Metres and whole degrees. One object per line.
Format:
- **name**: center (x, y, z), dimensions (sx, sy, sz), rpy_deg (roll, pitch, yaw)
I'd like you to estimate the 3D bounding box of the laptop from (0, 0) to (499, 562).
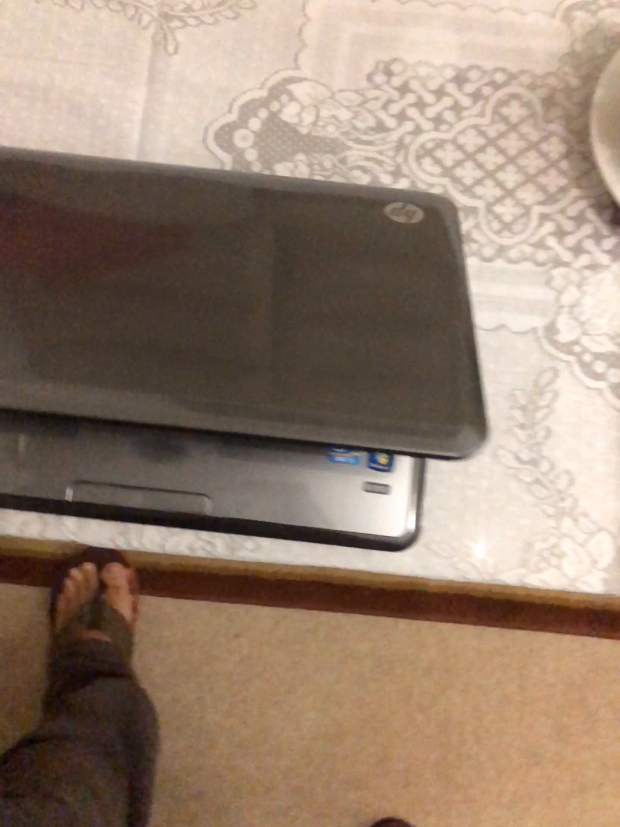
- **laptop**: center (-0.098, -0.060, 0.392), dimensions (0.360, 0.139, 0.237), rpy_deg (6, 82, 1)
